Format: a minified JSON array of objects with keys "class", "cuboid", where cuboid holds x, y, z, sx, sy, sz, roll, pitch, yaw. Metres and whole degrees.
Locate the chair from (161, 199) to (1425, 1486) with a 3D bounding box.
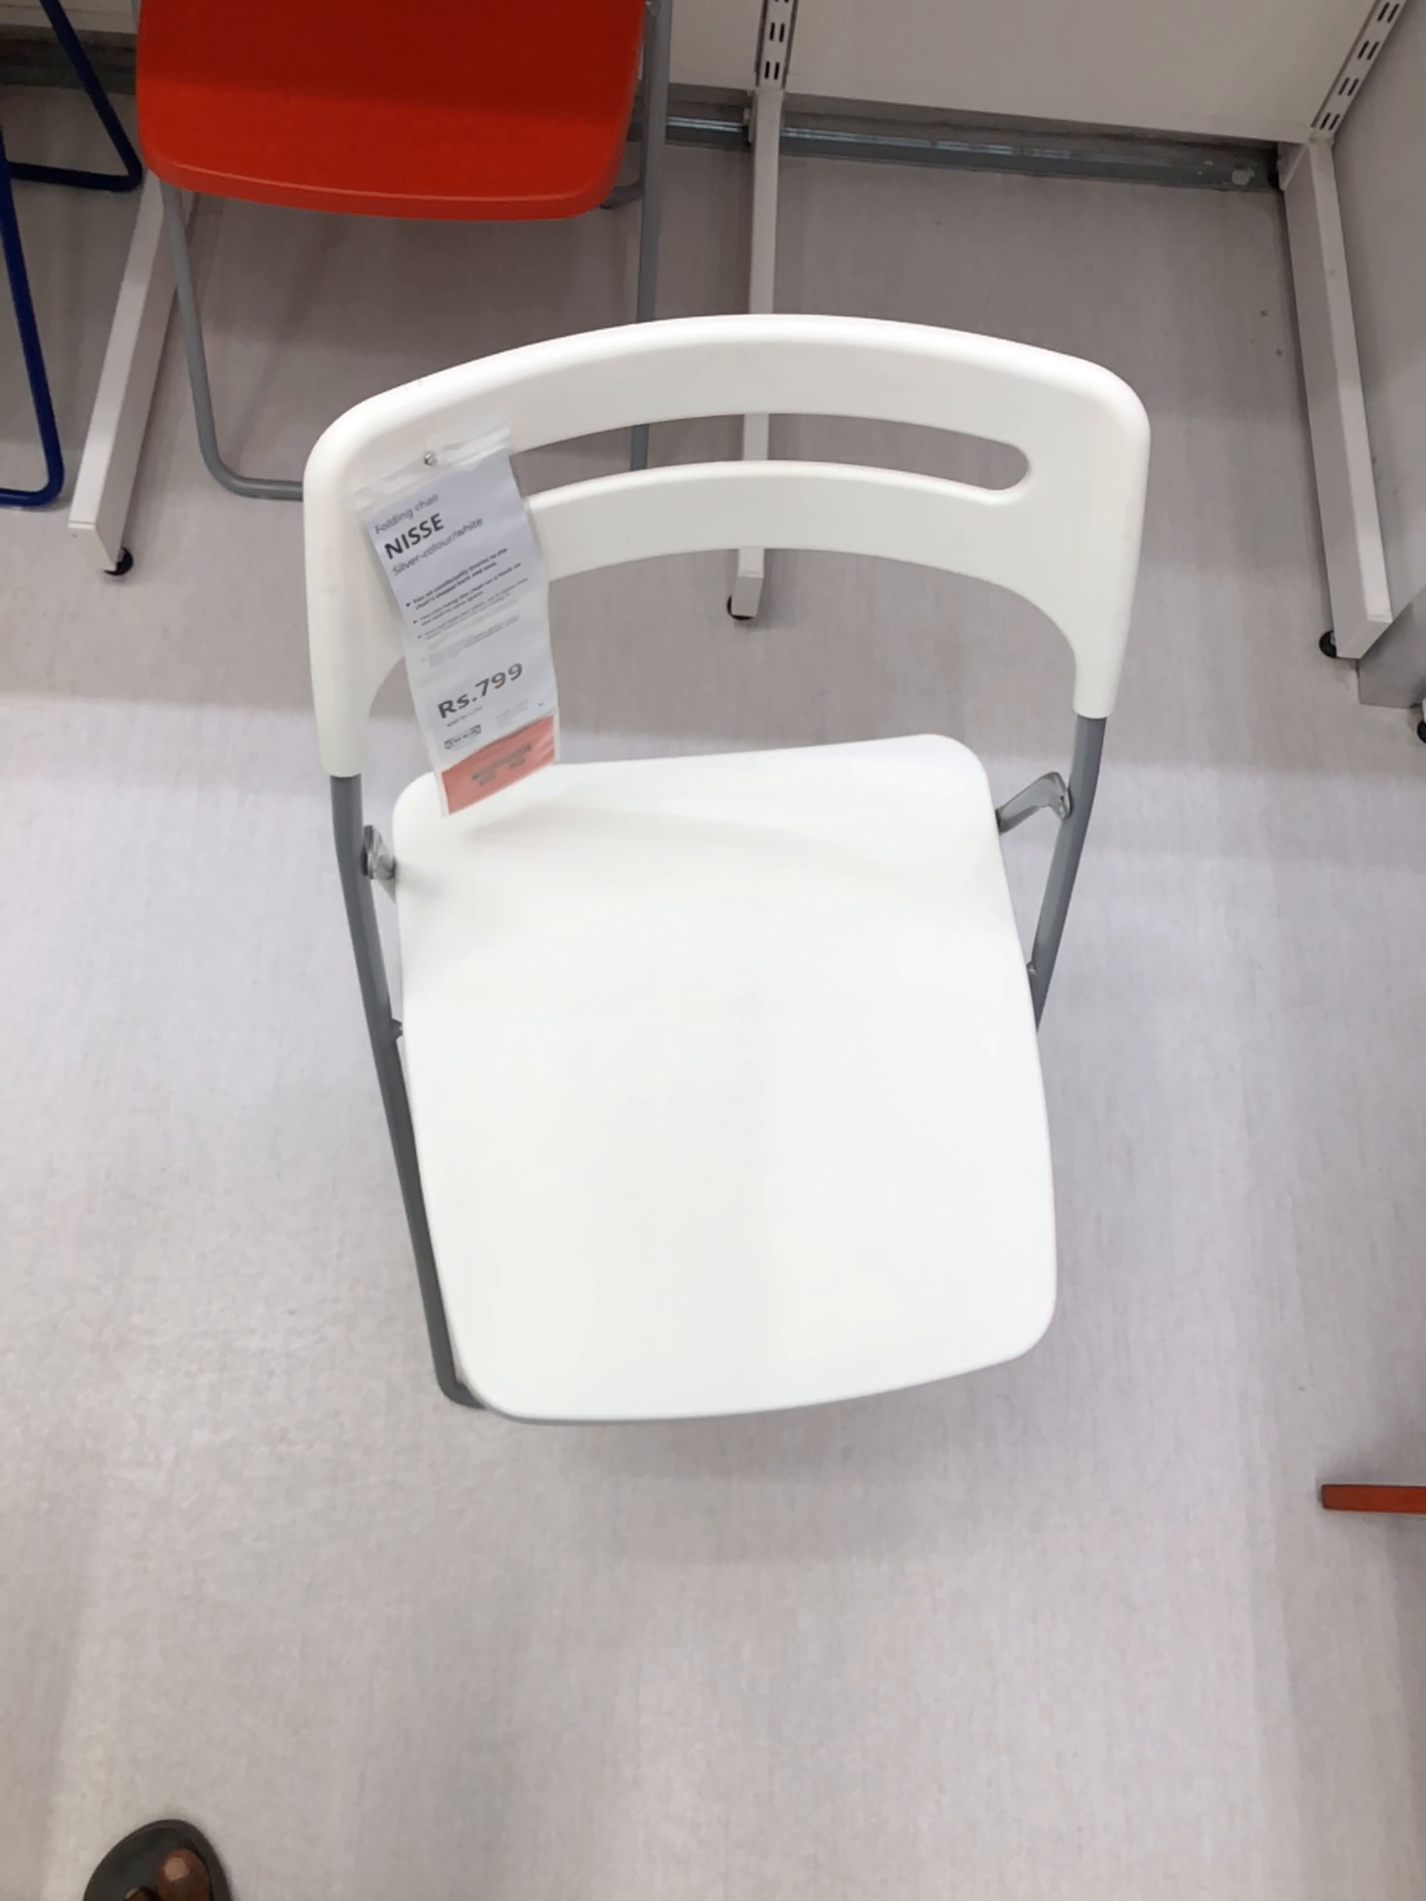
[{"class":"chair","cuboid":[-0.001,0.013,0.980,0.500,0.668,0.541,-5,71,-7]}]
